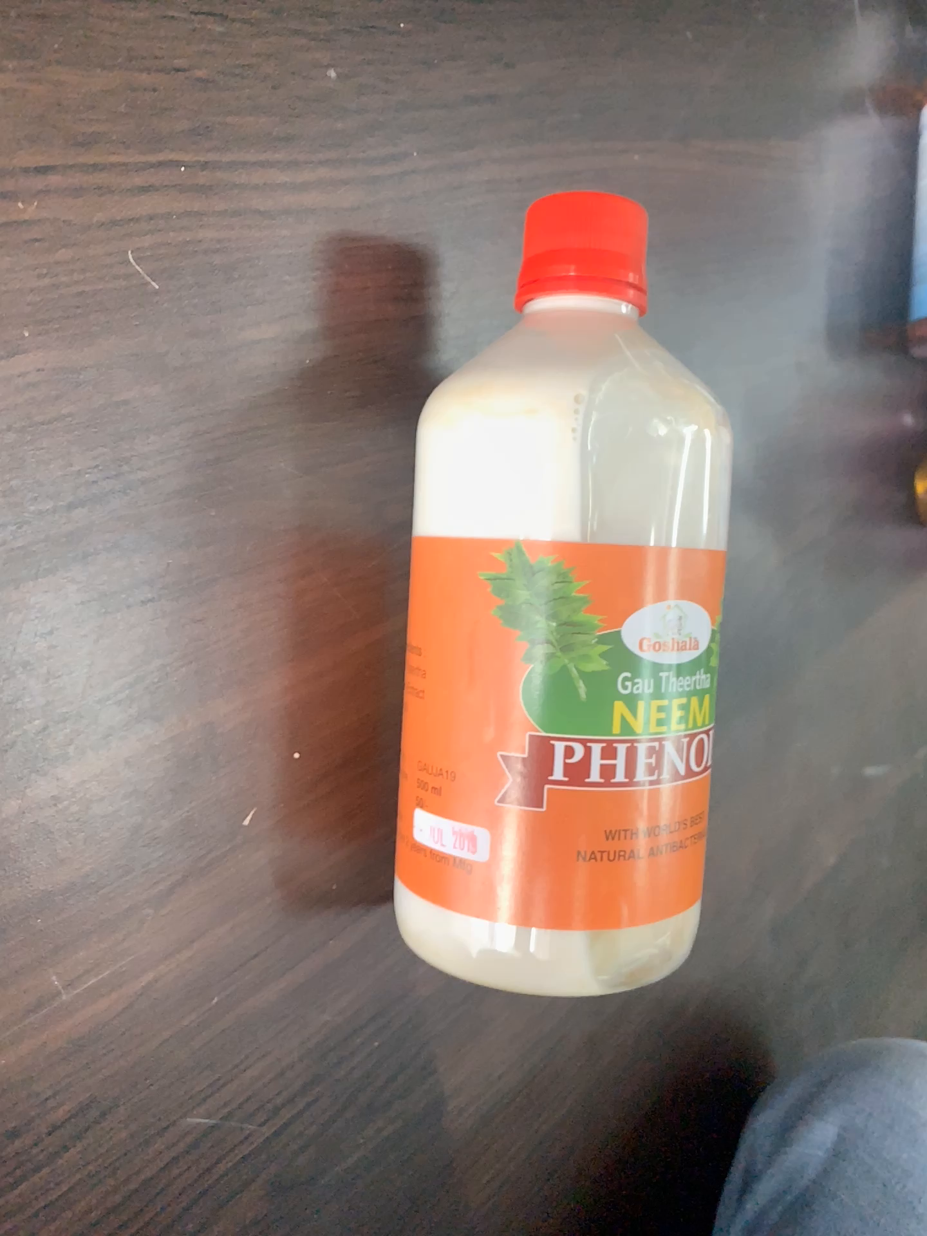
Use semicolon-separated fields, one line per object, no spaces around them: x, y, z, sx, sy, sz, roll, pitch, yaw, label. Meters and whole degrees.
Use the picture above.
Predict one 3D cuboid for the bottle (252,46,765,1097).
0.009;-0.008;0.227;0.080;0.070;0.190;-1;97;-45;bottle
